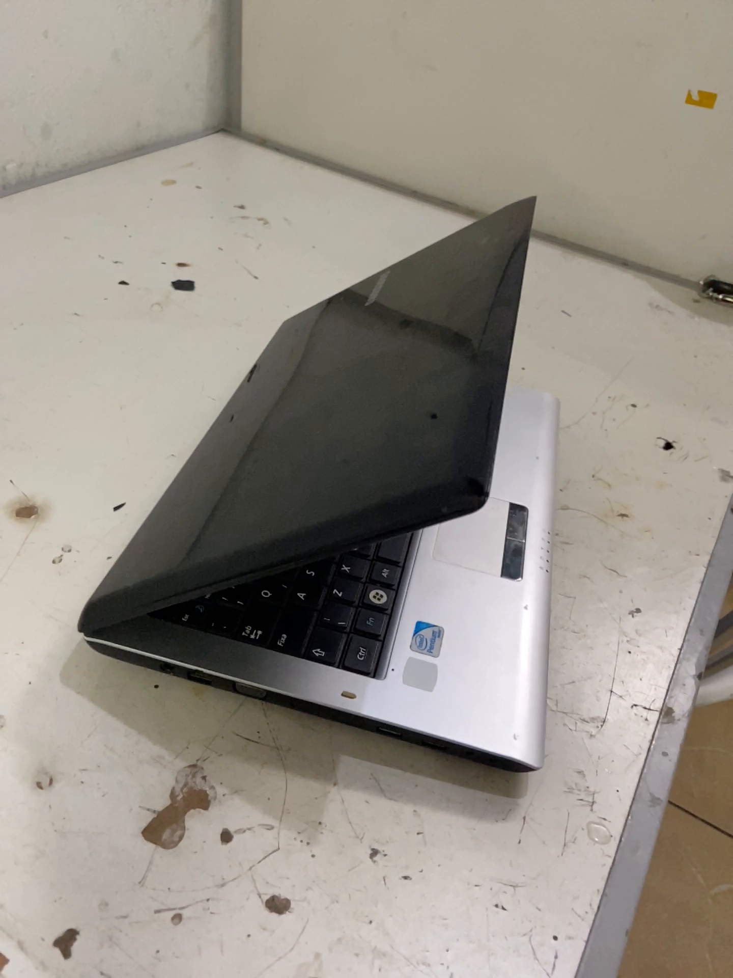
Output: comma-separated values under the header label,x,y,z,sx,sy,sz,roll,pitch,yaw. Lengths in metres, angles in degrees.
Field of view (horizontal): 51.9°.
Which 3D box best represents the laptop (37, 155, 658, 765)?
label,x,y,z,sx,sy,sz,roll,pitch,yaw
laptop,0.015,-0.055,0.457,0.240,0.152,0.335,14,40,5
